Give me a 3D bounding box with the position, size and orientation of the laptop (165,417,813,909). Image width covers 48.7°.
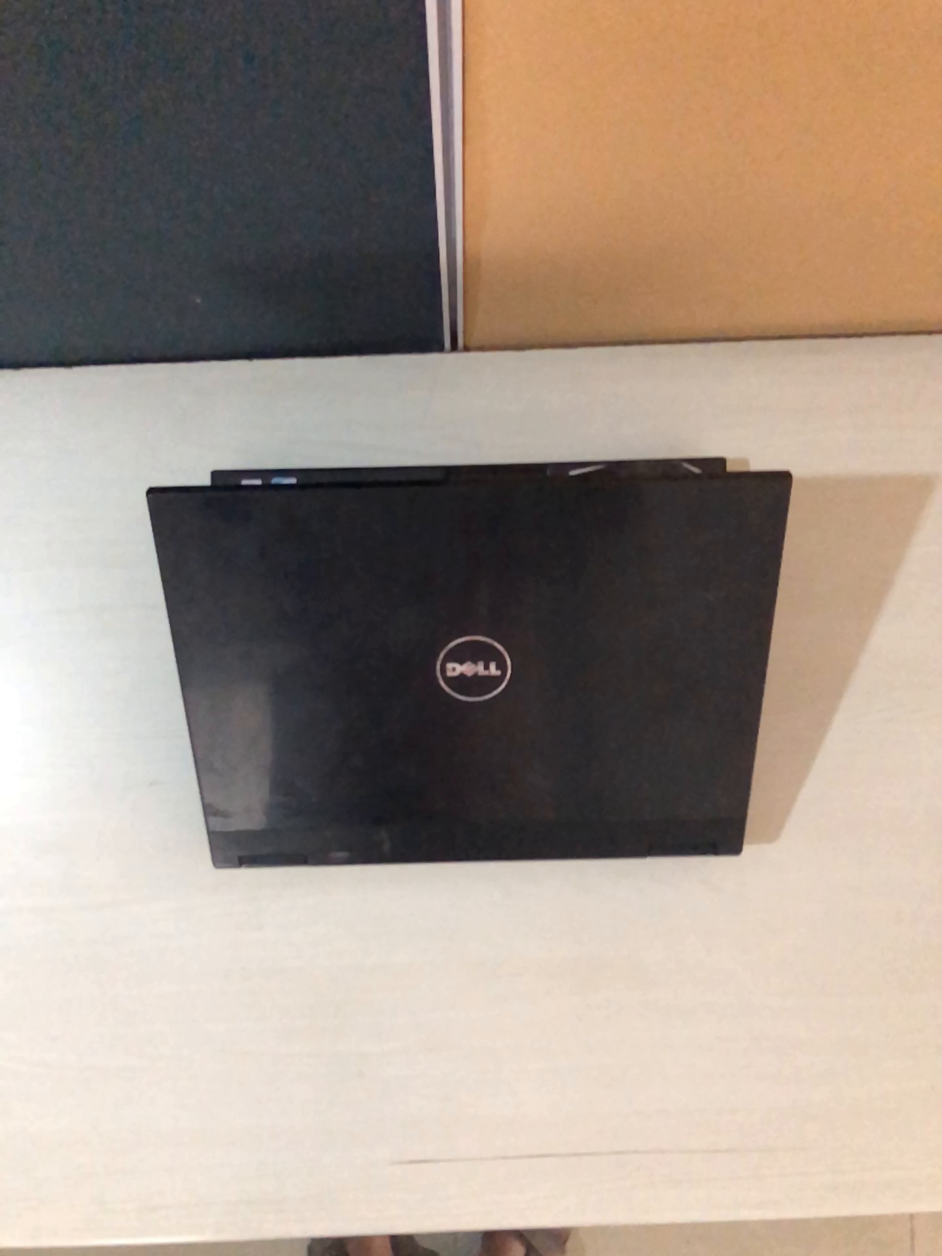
[{"bbox_3d":[0.006,0.020,0.557,0.302,0.127,0.224,-1,87,0],"label":"laptop"}]
